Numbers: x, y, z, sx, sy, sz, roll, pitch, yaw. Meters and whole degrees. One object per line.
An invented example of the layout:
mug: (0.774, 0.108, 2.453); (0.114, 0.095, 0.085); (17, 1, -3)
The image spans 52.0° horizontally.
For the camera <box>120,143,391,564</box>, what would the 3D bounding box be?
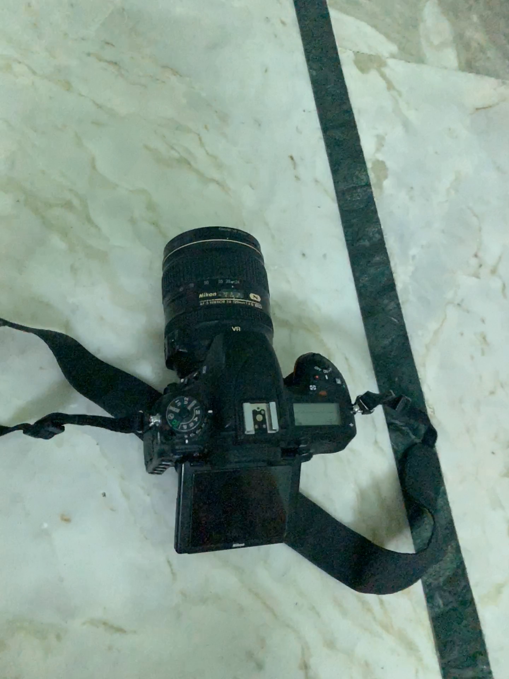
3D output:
camera: (-0.015, 0.010, 0.371); (0.147, 0.100, 0.258); (1, 70, -19)
